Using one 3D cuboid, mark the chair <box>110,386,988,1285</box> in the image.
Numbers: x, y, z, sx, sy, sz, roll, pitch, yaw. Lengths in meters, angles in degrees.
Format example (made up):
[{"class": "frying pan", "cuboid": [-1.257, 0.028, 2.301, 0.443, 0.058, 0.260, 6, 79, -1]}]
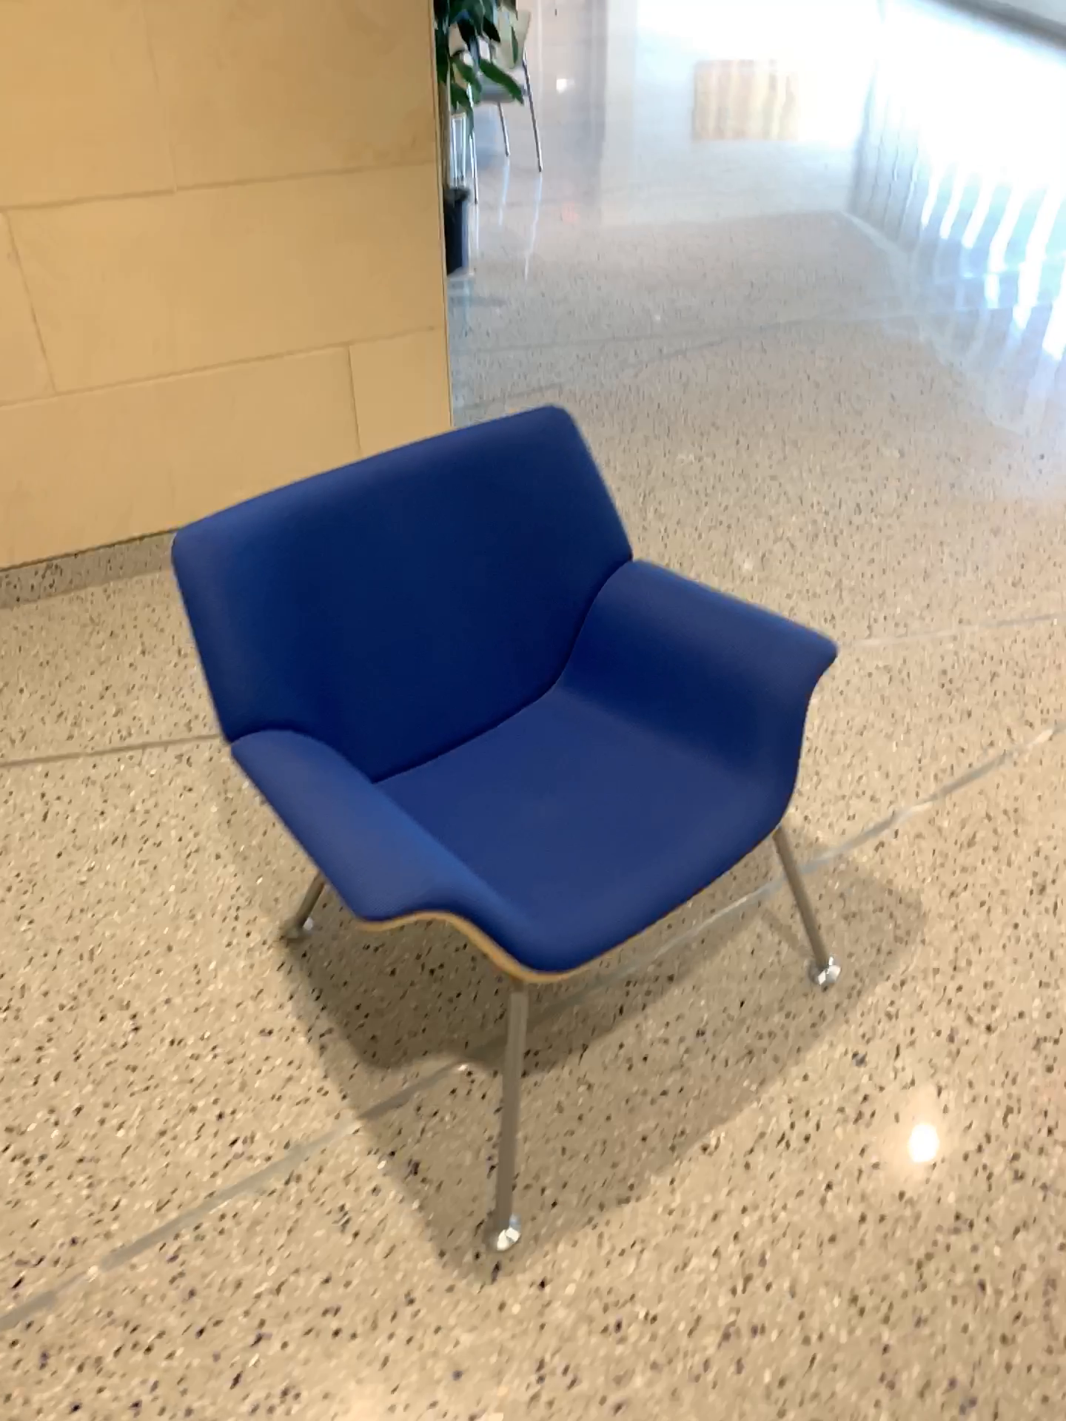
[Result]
[{"class": "chair", "cuboid": [0.006, 0.093, 1.561, 0.781, 0.727, 0.761, -27, 45, -30]}]
